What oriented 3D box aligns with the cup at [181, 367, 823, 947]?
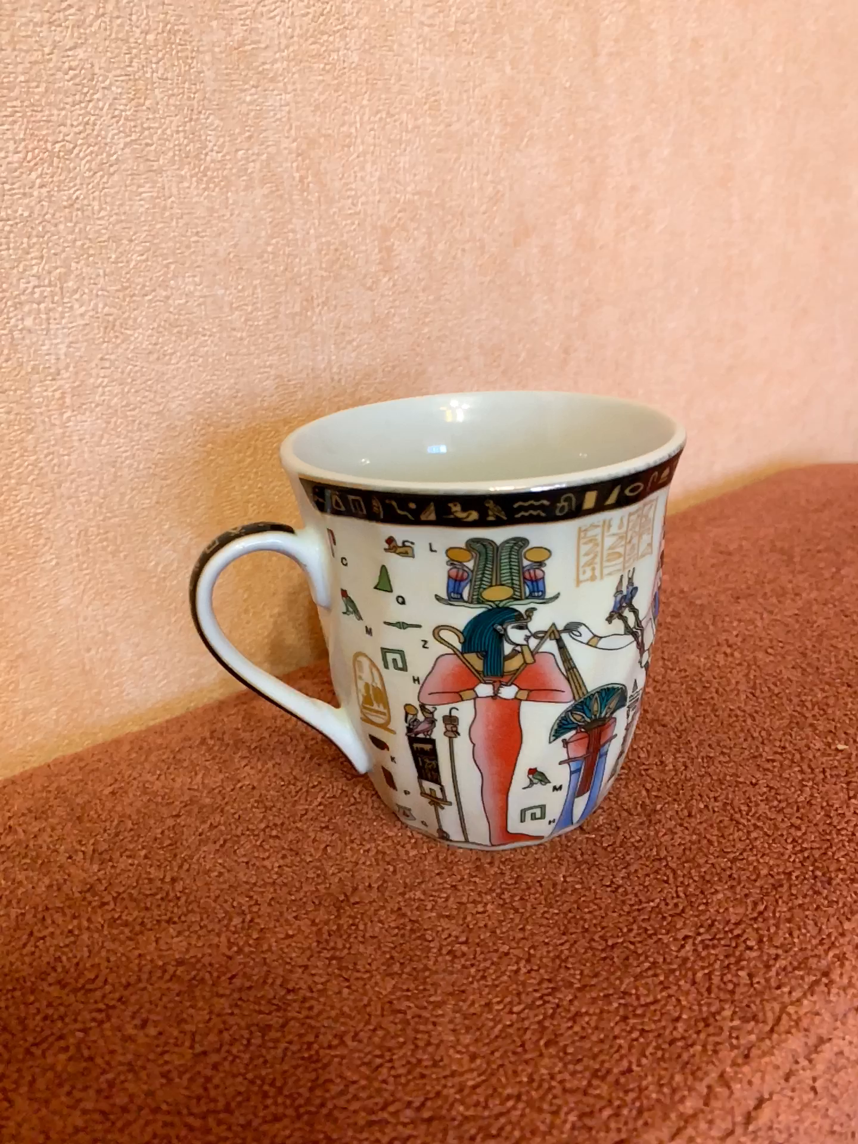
[{"bbox_3d":[0.009,0.009,0.212,0.115,0.087,0.086,-9,25,-15],"label":"cup"}]
